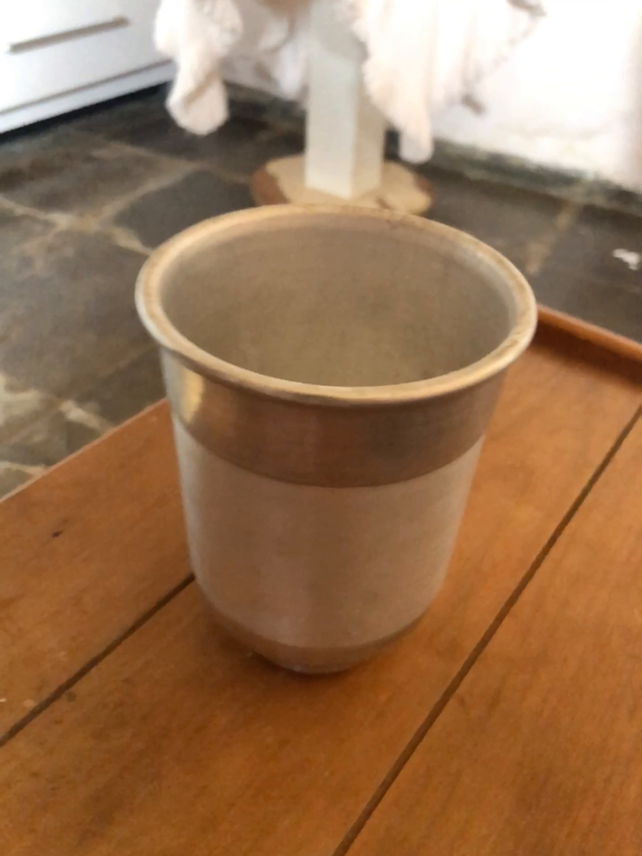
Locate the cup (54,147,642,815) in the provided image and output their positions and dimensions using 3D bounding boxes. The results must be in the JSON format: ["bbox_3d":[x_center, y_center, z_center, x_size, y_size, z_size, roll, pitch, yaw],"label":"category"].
[{"bbox_3d":[0.013,0.007,0.220,0.100,0.129,0.121,28,45,27],"label":"cup"}]
